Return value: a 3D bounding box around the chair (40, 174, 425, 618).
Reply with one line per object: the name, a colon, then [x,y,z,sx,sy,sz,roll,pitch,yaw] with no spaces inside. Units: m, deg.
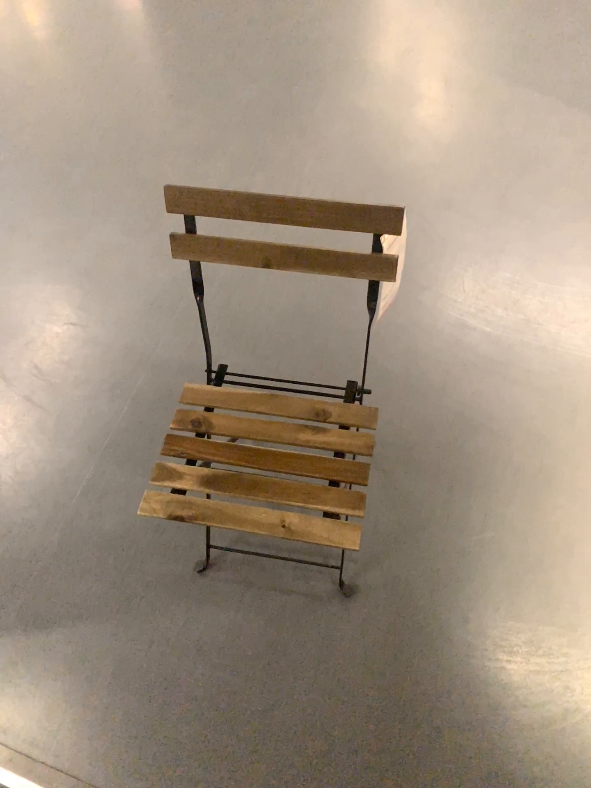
chair: [-0.034,0.059,1.128,0.420,0.699,0.501,8,61,9]
